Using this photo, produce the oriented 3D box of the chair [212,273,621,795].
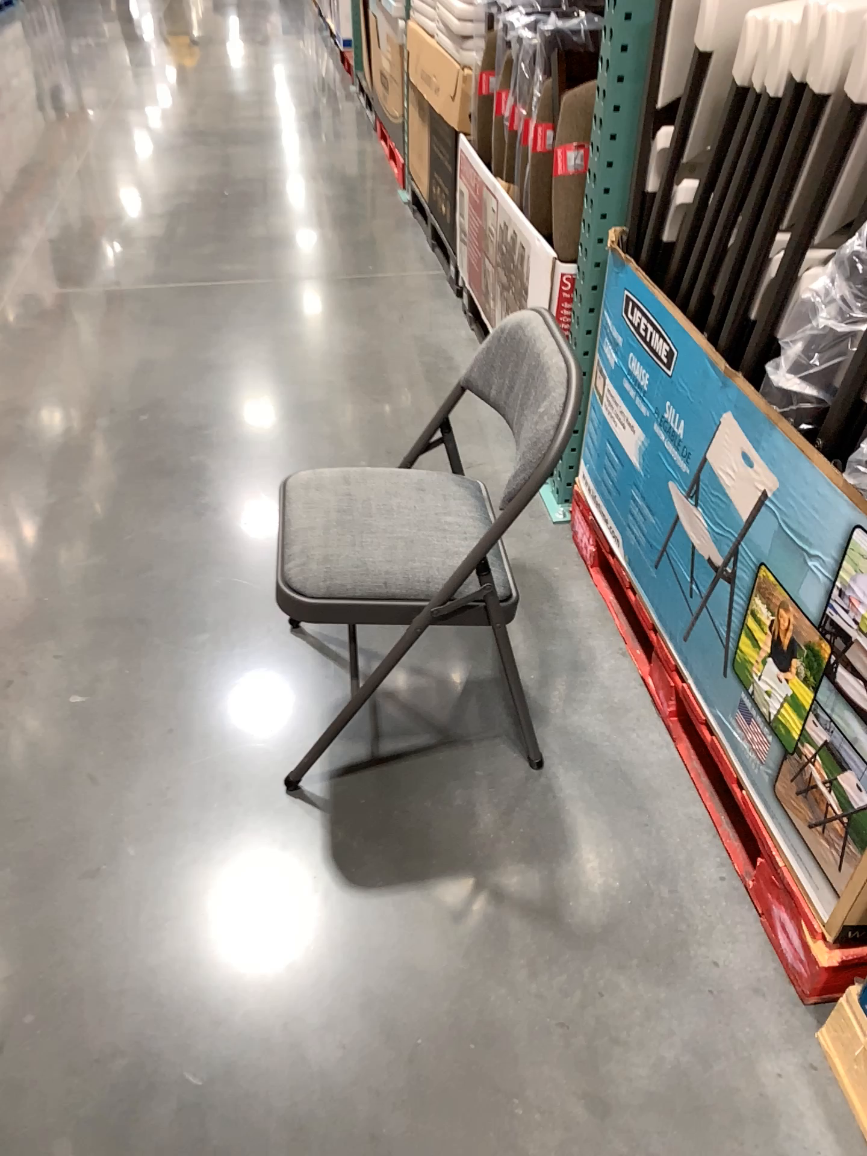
[{"bbox_3d":[-0.051,-0.075,1.484,0.502,0.687,0.497,-4,39,-6],"label":"chair"}]
